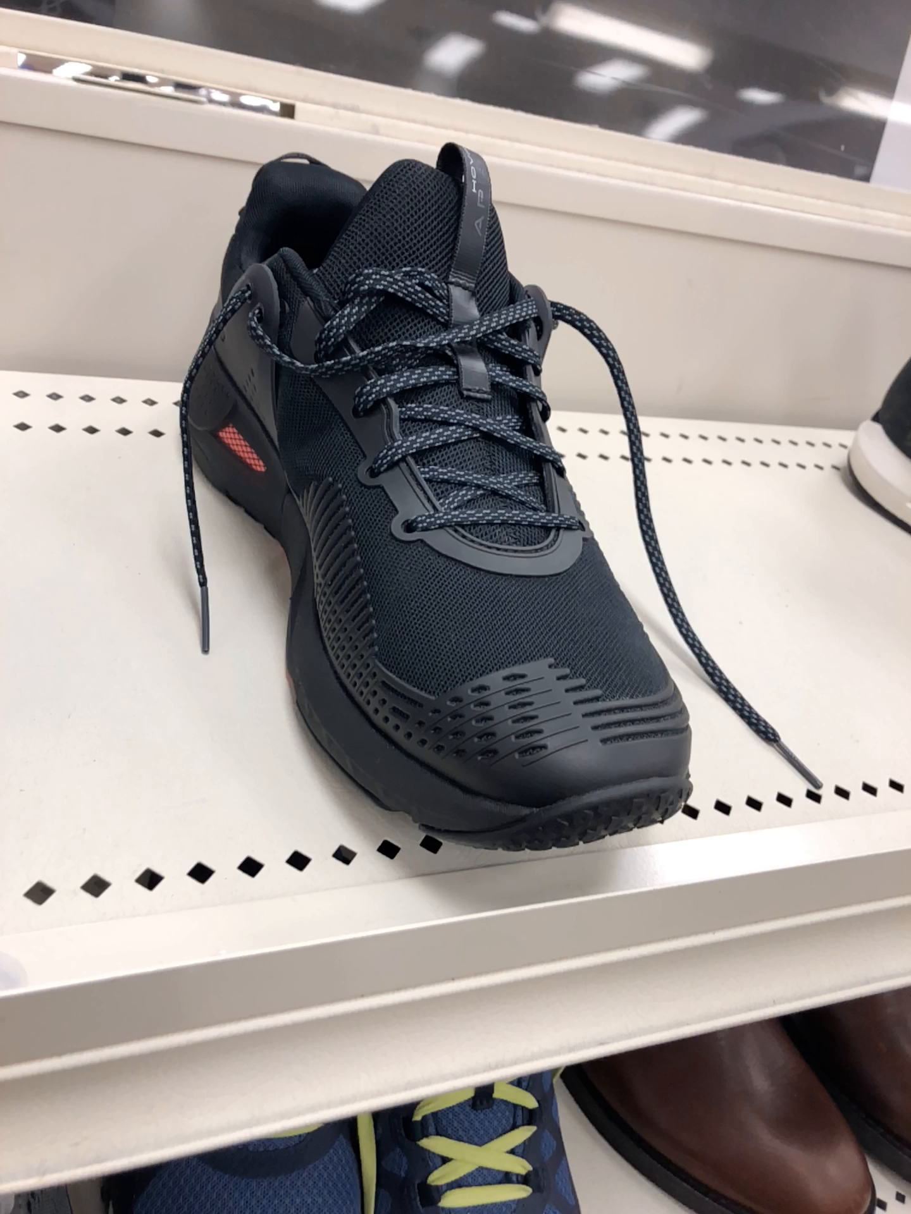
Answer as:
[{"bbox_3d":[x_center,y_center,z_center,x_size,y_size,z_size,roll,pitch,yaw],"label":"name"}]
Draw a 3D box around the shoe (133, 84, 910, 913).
[{"bbox_3d":[-0.020,-0.080,0.361,0.120,0.129,0.352,-2,33,-27],"label":"shoe"}]
